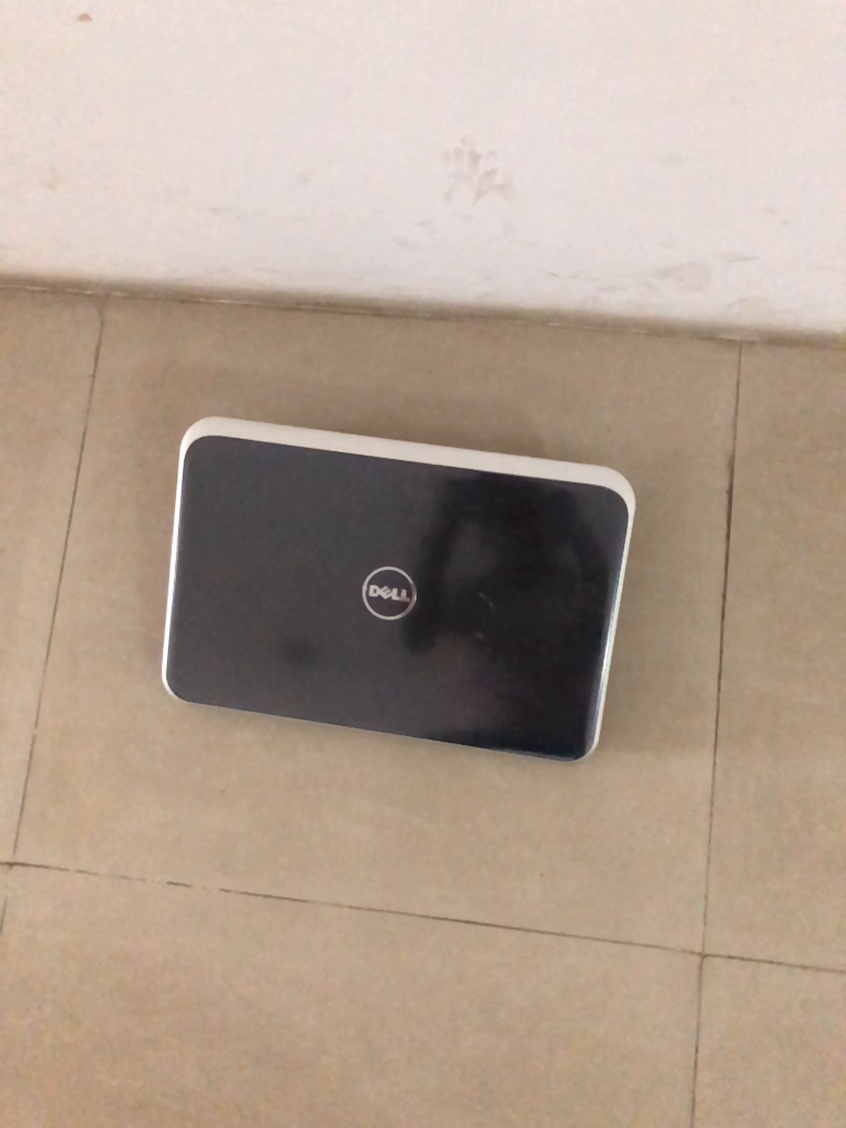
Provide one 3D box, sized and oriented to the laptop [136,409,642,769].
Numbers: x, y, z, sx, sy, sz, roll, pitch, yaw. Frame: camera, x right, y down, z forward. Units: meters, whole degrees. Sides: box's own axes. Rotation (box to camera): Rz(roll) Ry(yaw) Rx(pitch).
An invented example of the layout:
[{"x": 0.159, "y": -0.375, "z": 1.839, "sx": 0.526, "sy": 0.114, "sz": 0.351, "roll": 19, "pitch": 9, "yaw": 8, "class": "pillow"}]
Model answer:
[{"x": -0.023, "y": 0.020, "z": 0.759, "sx": 0.360, "sy": 0.080, "sz": 0.234, "roll": 8, "pitch": 84, "yaw": 4, "class": "laptop"}]
